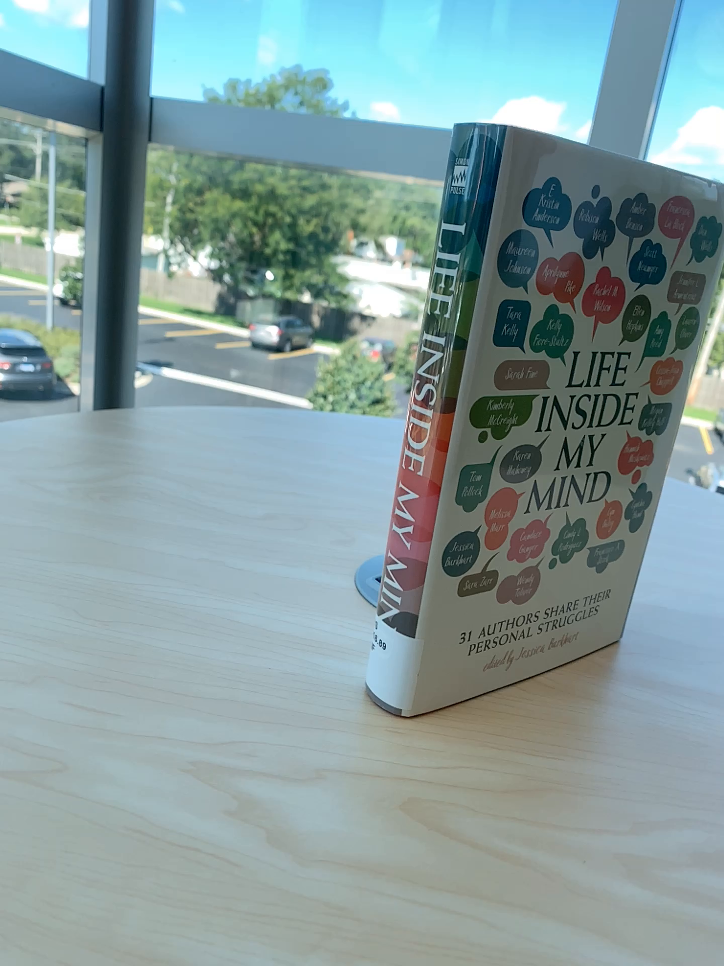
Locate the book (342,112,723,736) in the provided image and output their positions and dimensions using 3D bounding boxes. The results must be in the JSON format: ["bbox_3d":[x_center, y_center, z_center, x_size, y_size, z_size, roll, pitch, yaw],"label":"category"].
[{"bbox_3d":[0.077,-0.017,0.308,0.150,0.218,0.030,-6,25,-38],"label":"book"}]
